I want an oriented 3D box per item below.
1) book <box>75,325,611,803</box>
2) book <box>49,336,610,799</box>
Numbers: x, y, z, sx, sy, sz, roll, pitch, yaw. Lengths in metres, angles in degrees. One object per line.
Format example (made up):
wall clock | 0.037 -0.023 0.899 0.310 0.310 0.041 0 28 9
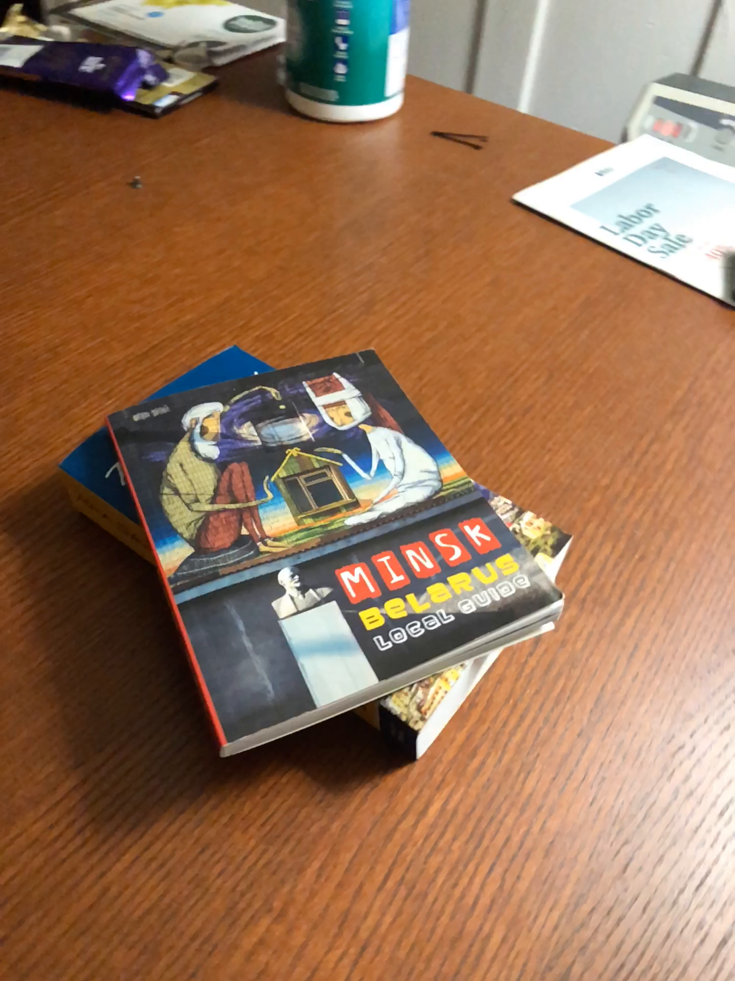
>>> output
book | -0.021 0.008 0.335 0.150 0.020 0.191 -17 50 -21
book | -0.020 0.017 0.380 0.220 0.040 0.130 31 51 23
